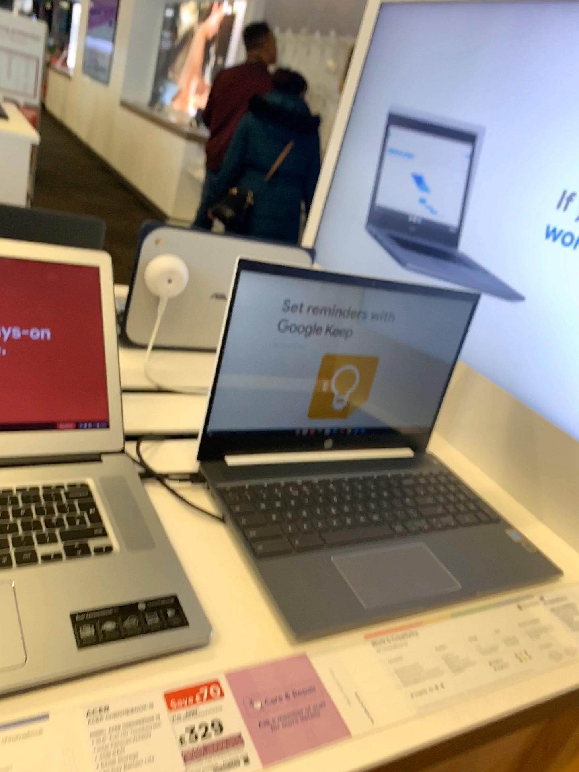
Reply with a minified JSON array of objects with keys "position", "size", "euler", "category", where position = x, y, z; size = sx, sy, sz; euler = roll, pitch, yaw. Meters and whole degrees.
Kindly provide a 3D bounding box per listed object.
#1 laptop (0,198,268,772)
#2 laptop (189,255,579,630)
[{"position":[-0.293,0.016,0.505],"size":[0.376,0.174,0.427],"euler":[0,29,-33],"category":"laptop"},{"position":[0.127,0.042,0.652],"size":[0.358,0.233,0.269],"euler":[2,27,-32],"category":"laptop"}]
